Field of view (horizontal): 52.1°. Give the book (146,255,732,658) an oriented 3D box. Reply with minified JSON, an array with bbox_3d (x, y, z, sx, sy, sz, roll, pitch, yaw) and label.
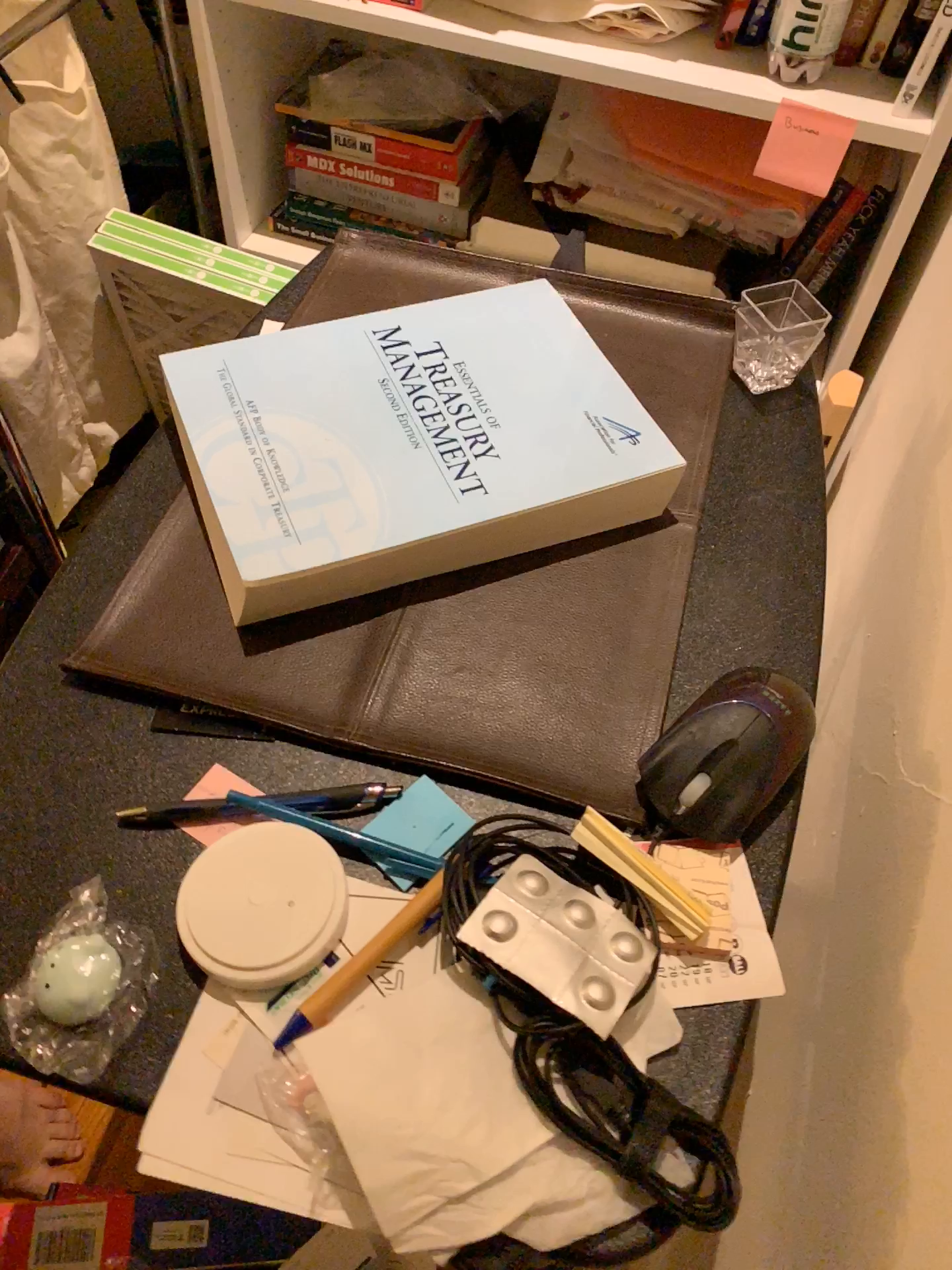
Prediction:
[{"bbox_3d":[-0.031,-0.128,0.618,0.300,0.060,0.221,-16,56,-15],"label":"book"}]
